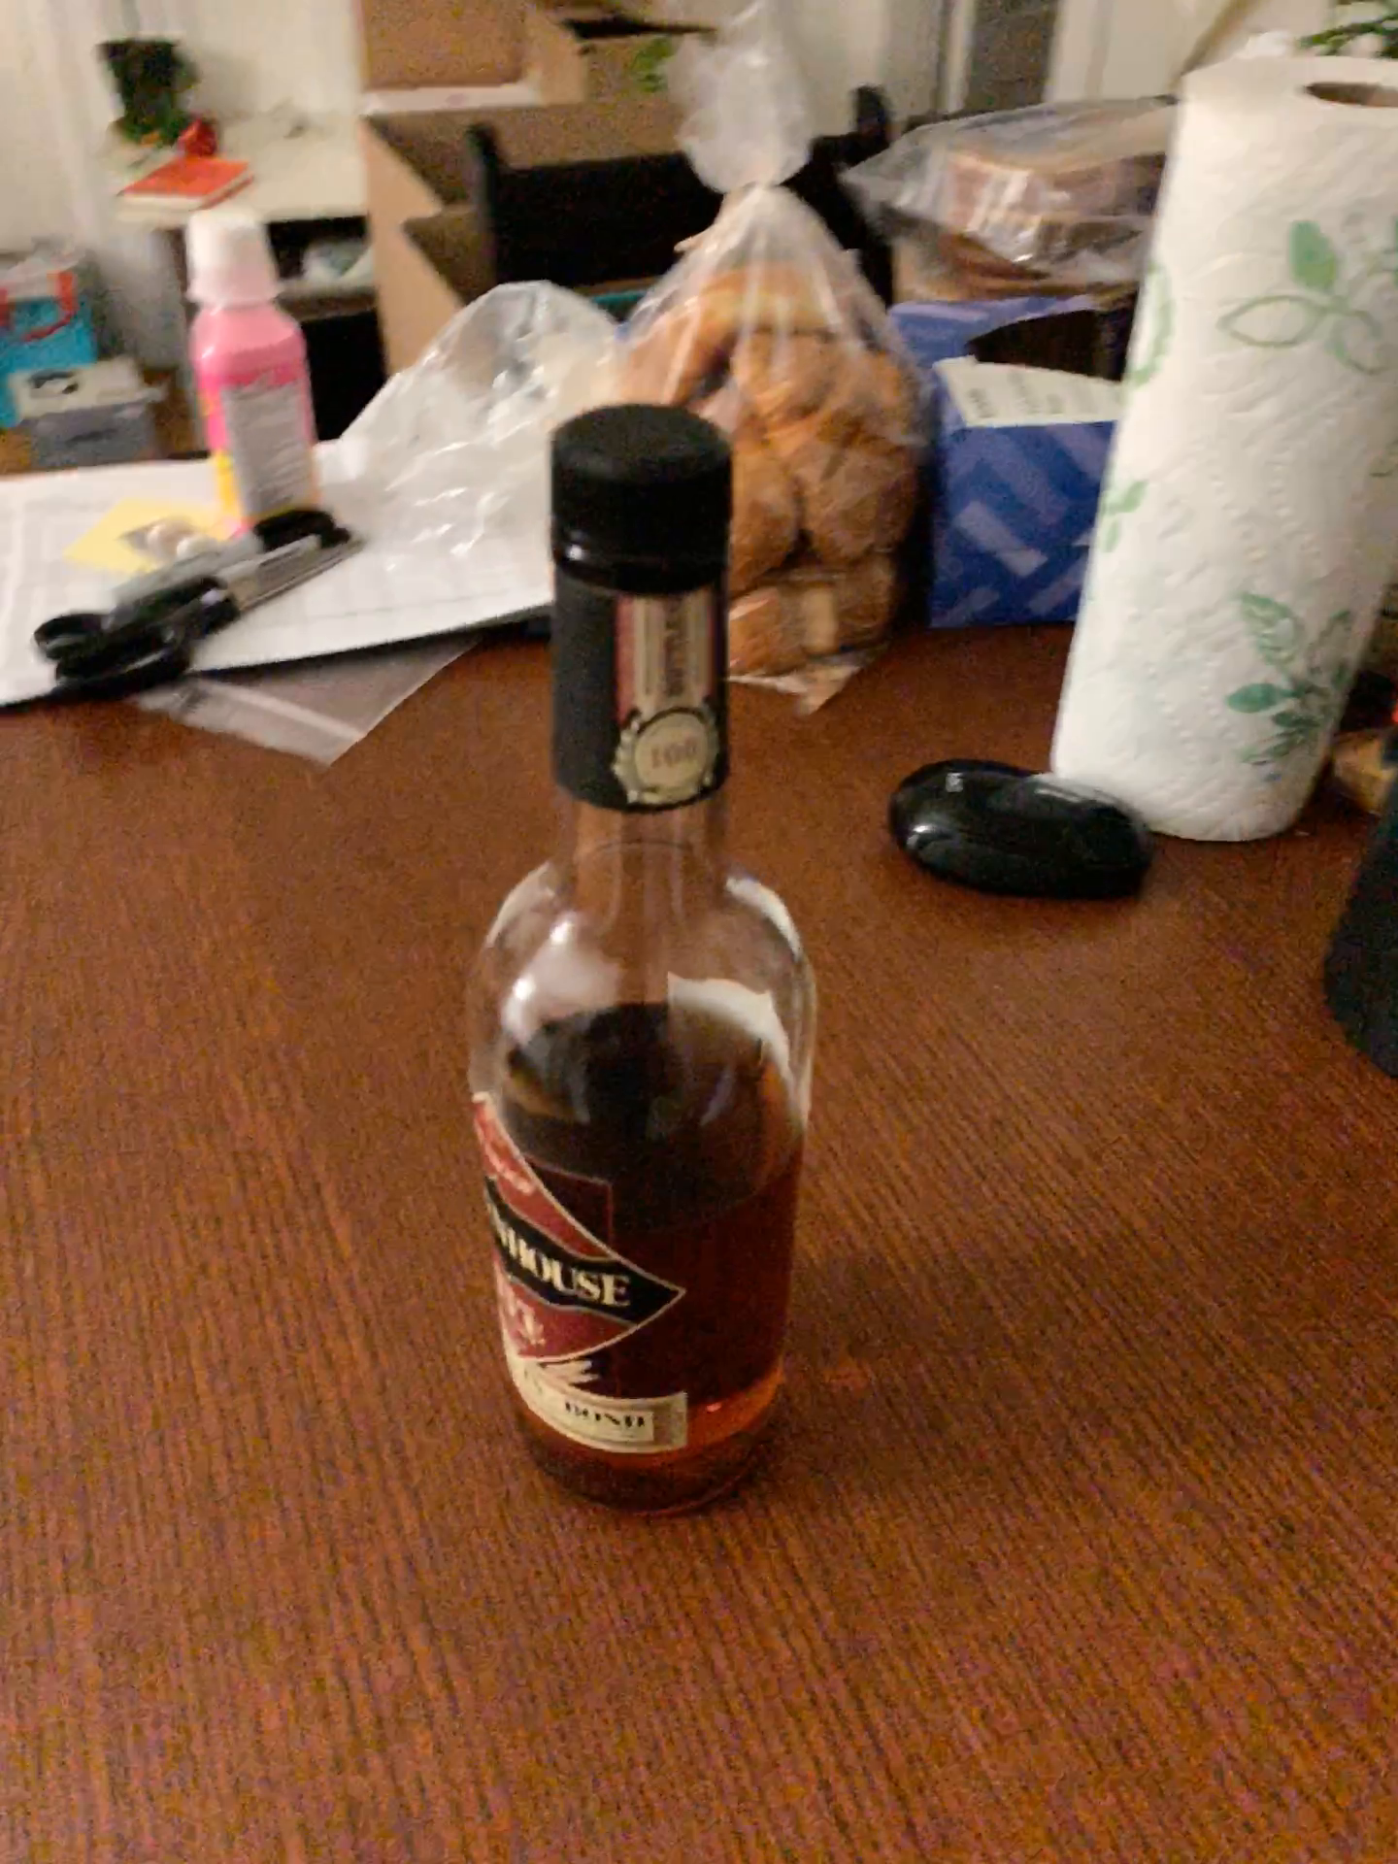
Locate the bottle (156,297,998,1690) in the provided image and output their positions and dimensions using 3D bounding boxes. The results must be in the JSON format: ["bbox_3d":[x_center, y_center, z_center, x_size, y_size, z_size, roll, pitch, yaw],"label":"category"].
[{"bbox_3d":[-0.023,0.035,0.305,0.090,0.288,0.090,1,41,-1],"label":"bottle"}]
